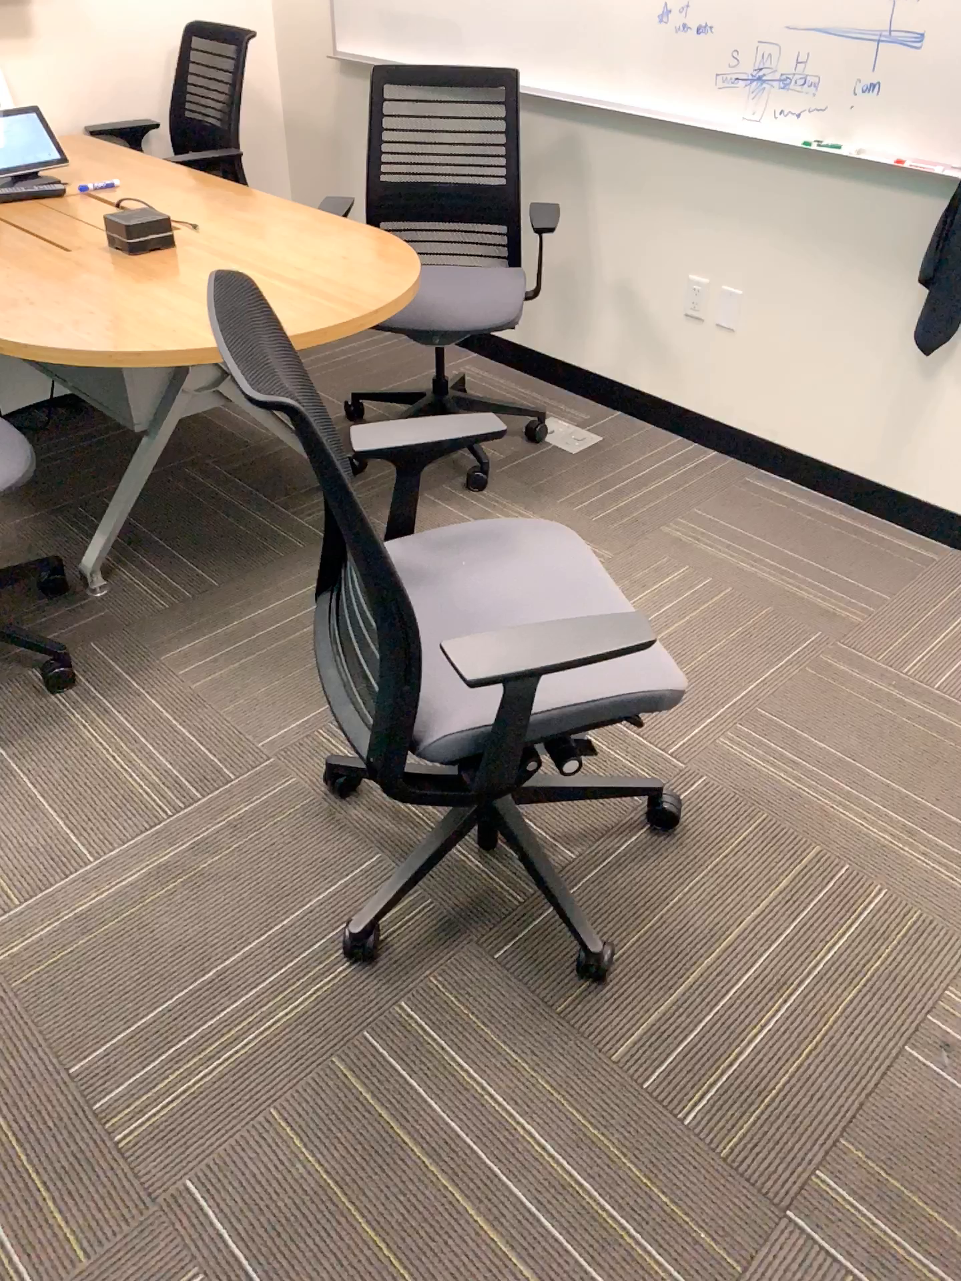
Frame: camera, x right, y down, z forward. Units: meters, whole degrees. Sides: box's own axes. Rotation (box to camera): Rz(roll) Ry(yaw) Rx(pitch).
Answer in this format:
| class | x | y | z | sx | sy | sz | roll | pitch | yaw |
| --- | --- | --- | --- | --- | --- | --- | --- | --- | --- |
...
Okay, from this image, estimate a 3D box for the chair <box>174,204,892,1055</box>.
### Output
| class | x | y | z | sx | sy | sz | roll | pitch | yaw |
| --- | --- | --- | --- | --- | --- | --- | --- | --- | --- |
| chair | -0.007 | -0.026 | 1.475 | 0.690 | 0.994 | 0.654 | -9 | 39 | -13 |
